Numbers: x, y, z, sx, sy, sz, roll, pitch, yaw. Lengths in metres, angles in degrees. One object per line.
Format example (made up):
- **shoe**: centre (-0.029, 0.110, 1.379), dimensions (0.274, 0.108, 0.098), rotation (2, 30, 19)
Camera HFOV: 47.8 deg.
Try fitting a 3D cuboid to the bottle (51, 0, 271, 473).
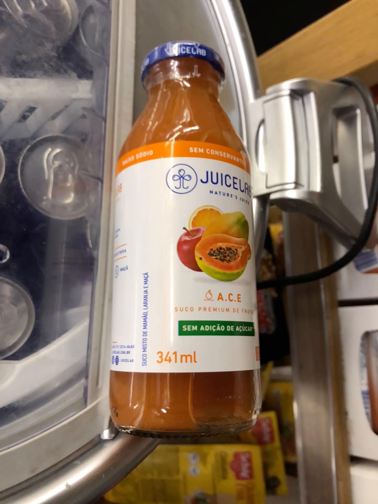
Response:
- **bottle**: centre (-0.009, -0.018, 0.187), dimensions (0.070, 0.050, 0.190), rotation (10, 76, -34)
